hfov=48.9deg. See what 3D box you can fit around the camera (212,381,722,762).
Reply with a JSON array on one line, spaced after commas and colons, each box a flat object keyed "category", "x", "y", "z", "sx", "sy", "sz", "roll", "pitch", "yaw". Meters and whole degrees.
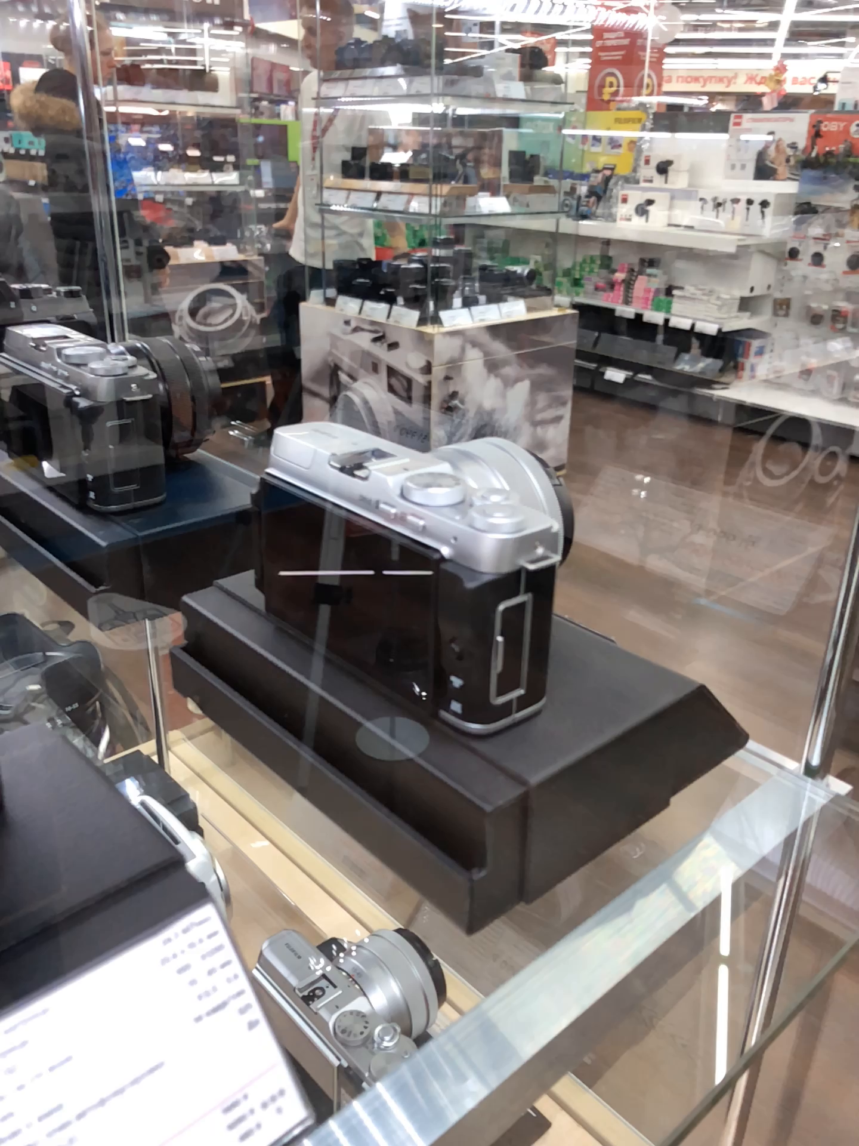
[{"category": "camera", "x": 0.007, "y": -0.013, "z": 0.318, "sx": 0.100, "sy": 0.066, "sz": 0.133, "roll": -19, "pitch": 31, "yaw": -38}]
